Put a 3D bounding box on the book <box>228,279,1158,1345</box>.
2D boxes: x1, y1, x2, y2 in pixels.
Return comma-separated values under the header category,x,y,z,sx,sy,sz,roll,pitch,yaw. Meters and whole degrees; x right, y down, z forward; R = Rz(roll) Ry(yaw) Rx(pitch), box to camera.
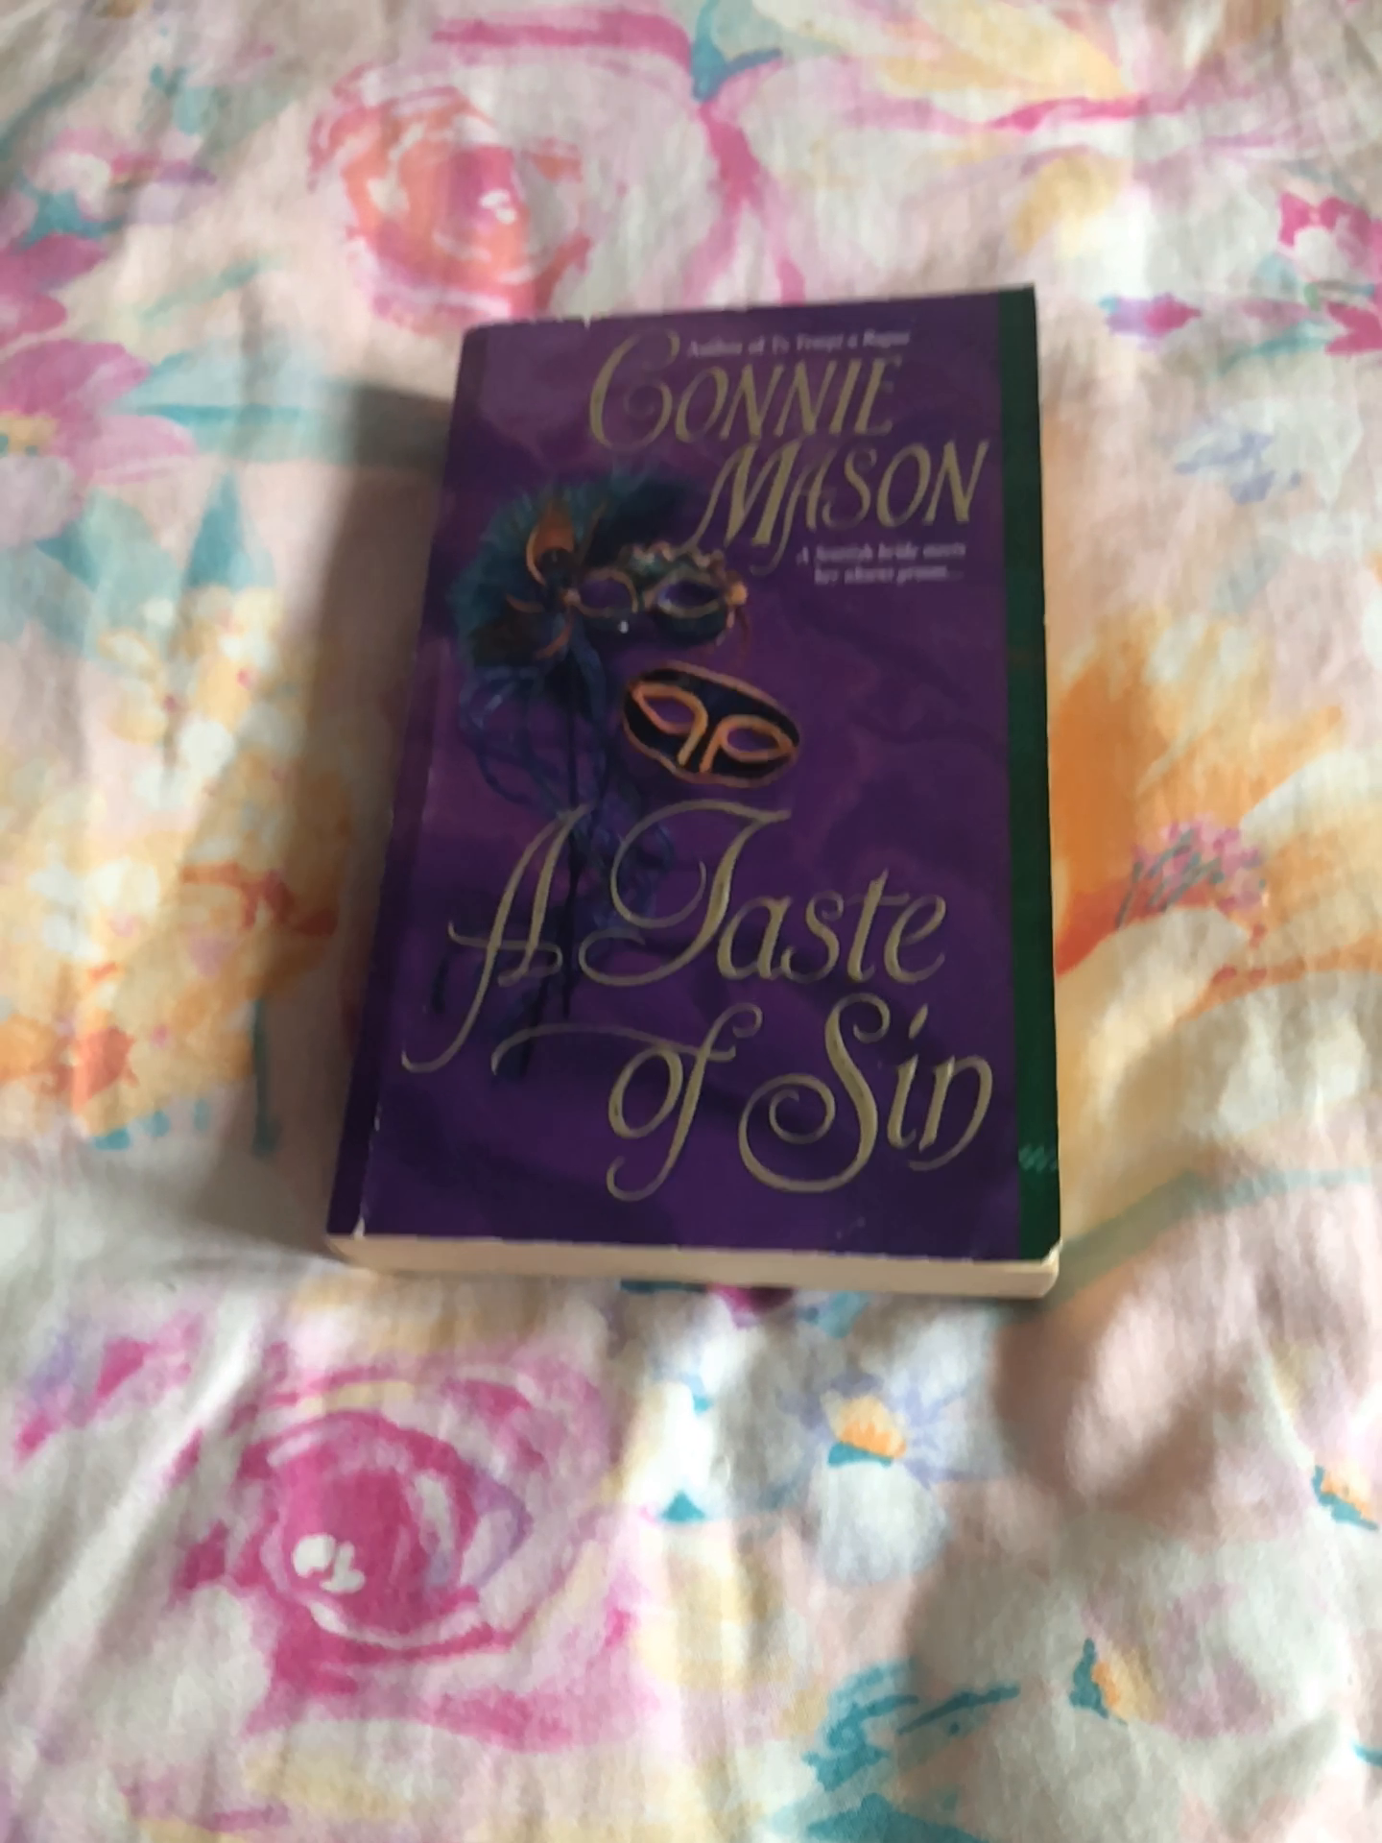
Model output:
category,x,y,z,sx,sy,sz,roll,pitch,yaw
book,0.003,-0.027,0.259,0.120,0.040,0.181,2,62,1
